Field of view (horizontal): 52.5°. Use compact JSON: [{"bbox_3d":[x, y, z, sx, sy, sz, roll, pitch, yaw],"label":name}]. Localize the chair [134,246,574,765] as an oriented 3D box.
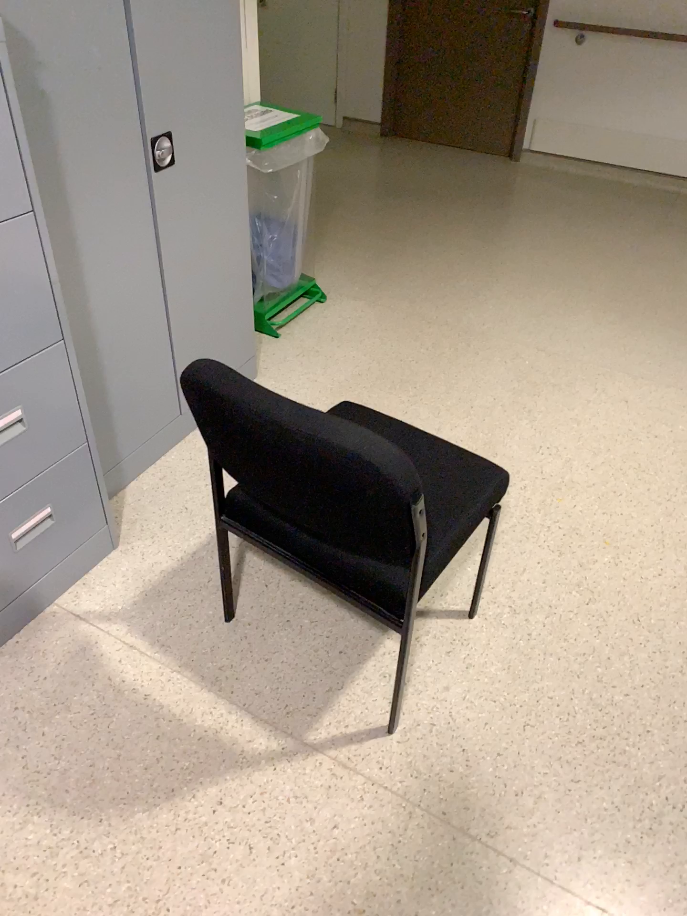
[{"bbox_3d":[0.019,0.086,1.607,0.632,0.831,0.584,26,45,26],"label":"chair"}]
